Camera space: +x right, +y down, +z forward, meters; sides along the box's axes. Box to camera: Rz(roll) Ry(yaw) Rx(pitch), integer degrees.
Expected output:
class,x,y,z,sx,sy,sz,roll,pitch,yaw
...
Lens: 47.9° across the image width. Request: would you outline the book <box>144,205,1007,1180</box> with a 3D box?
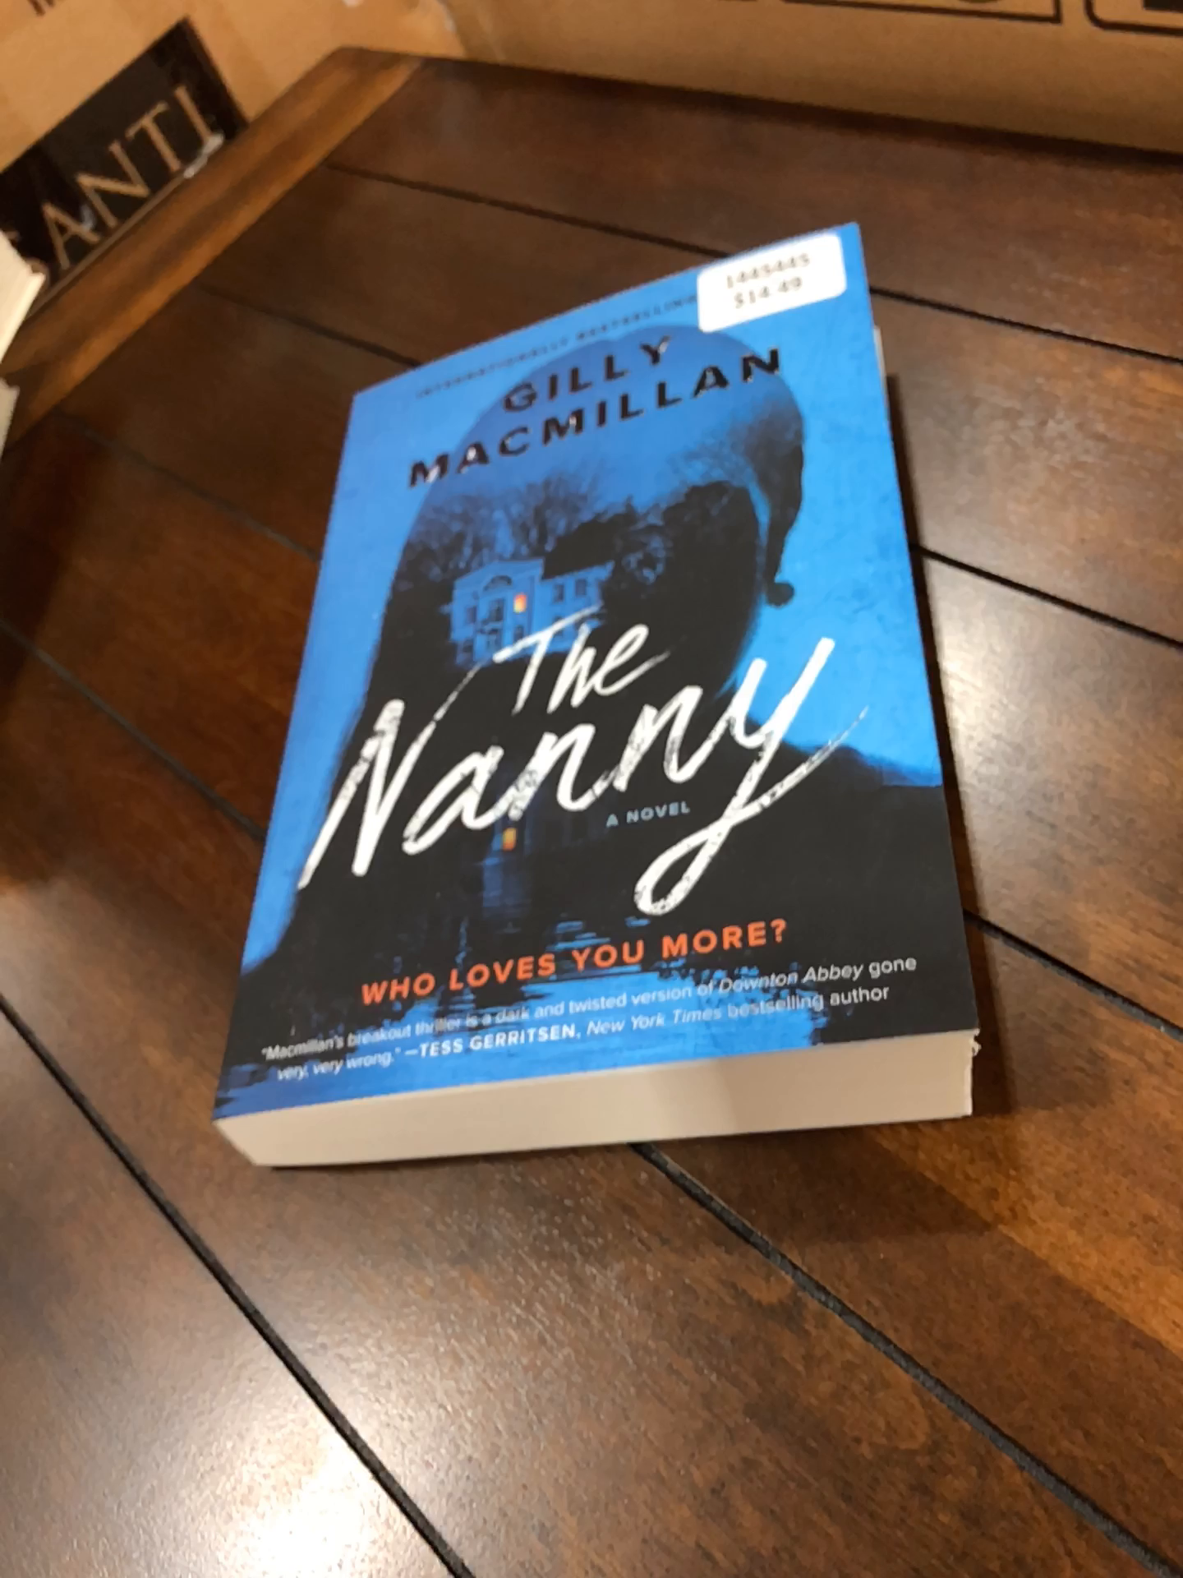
class,x,y,z,sx,sy,sz,roll,pitch,yaw
book,0.000,-0.032,0.318,0.160,0.040,0.230,-11,50,21
